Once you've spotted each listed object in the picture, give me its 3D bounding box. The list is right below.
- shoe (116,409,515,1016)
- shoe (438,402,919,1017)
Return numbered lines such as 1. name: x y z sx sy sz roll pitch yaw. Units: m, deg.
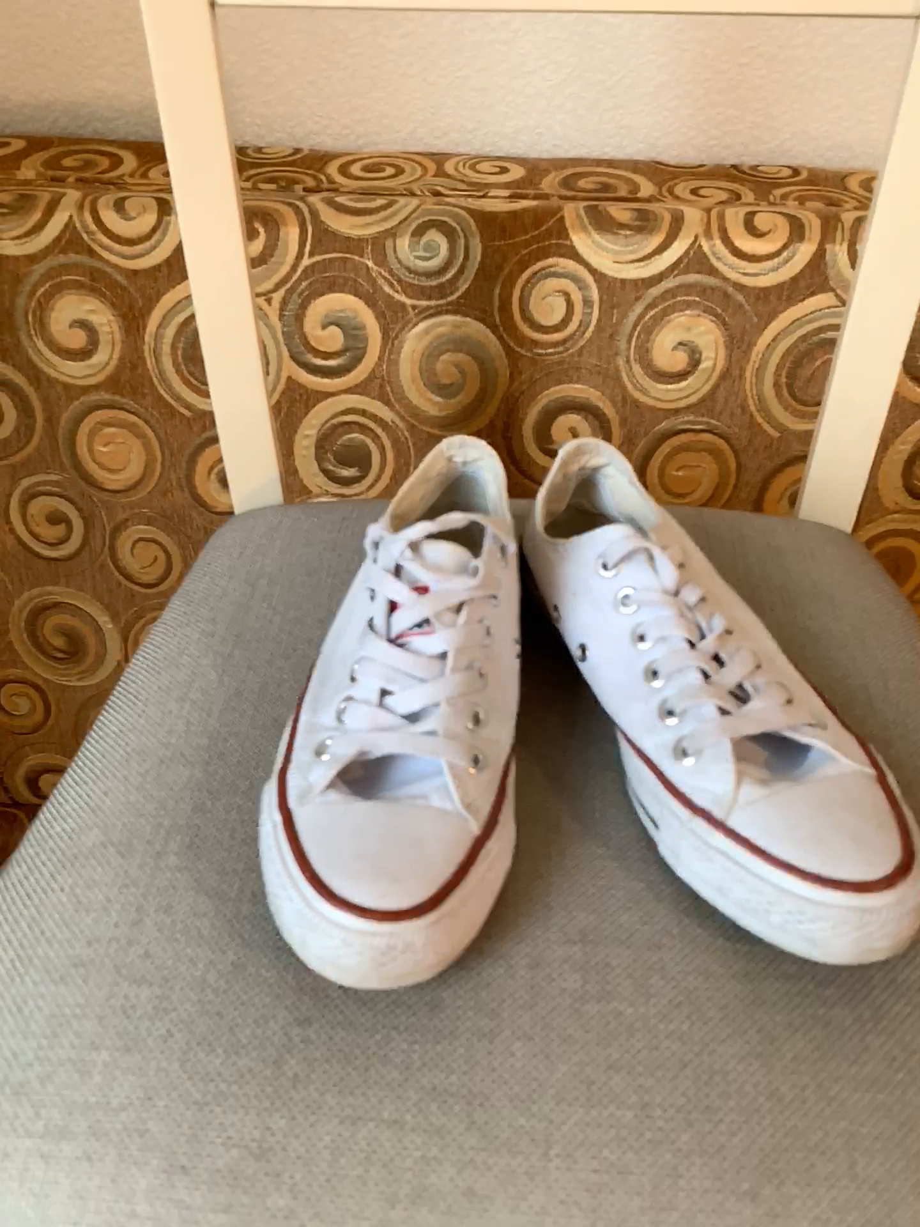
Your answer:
1. shoe: -0.033 0.017 0.339 0.090 0.060 0.221 4 47 4
2. shoe: 0.075 0.016 0.345 0.090 0.060 0.221 -17 49 -15
